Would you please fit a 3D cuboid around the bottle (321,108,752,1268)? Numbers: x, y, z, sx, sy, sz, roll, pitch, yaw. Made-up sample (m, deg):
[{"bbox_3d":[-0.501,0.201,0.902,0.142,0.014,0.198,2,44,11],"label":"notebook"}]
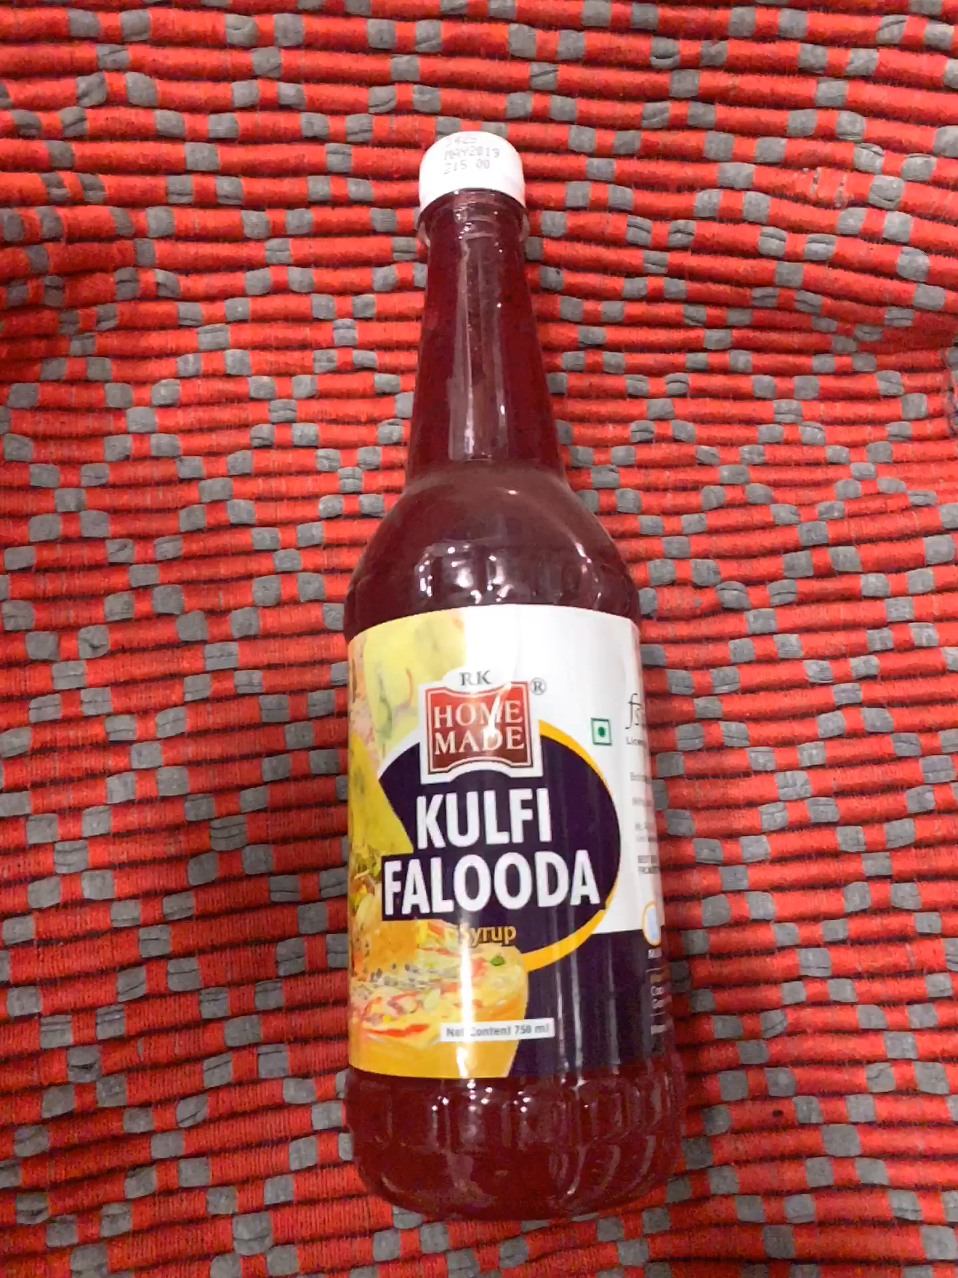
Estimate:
[{"bbox_3d":[0.001,-0.005,0.238,0.070,0.070,0.250,-1,68,-5],"label":"bottle"}]
